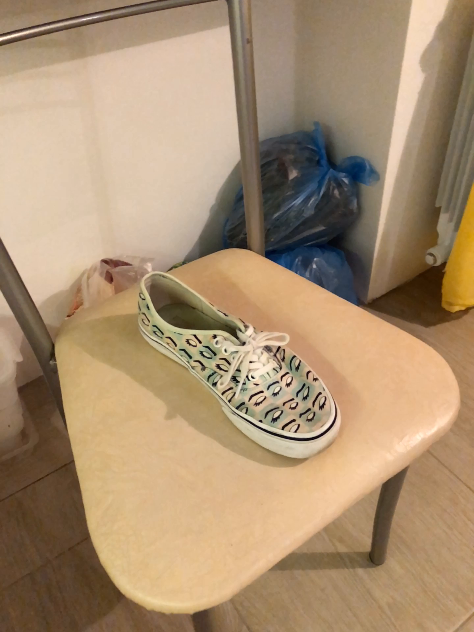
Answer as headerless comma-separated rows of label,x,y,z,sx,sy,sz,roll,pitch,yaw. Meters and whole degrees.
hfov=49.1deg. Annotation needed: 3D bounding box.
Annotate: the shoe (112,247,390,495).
shoe,0.002,0.036,0.511,0.110,0.068,0.261,-34,51,-29
